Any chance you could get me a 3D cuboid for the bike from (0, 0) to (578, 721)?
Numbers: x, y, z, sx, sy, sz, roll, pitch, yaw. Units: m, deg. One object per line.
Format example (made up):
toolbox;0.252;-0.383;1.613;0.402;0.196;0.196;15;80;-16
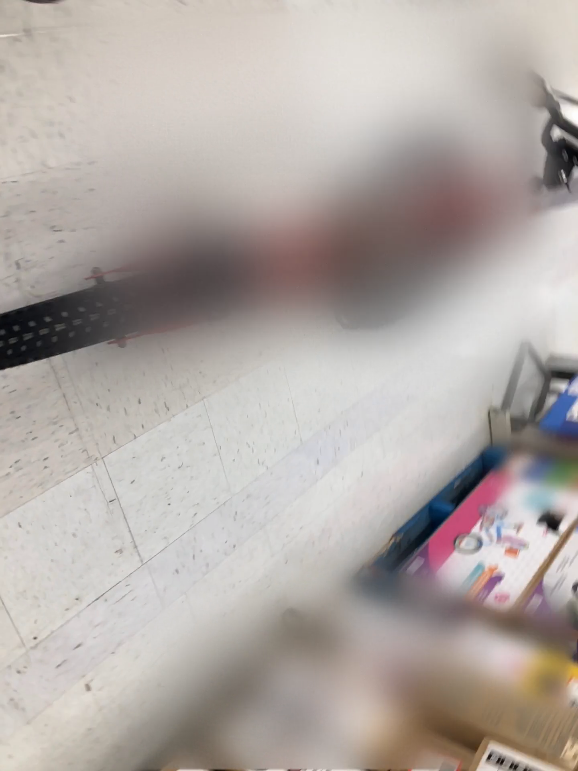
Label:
bike;0.065;-0.315;1.236;1.362;0.968;0.608;-36;122;-42
